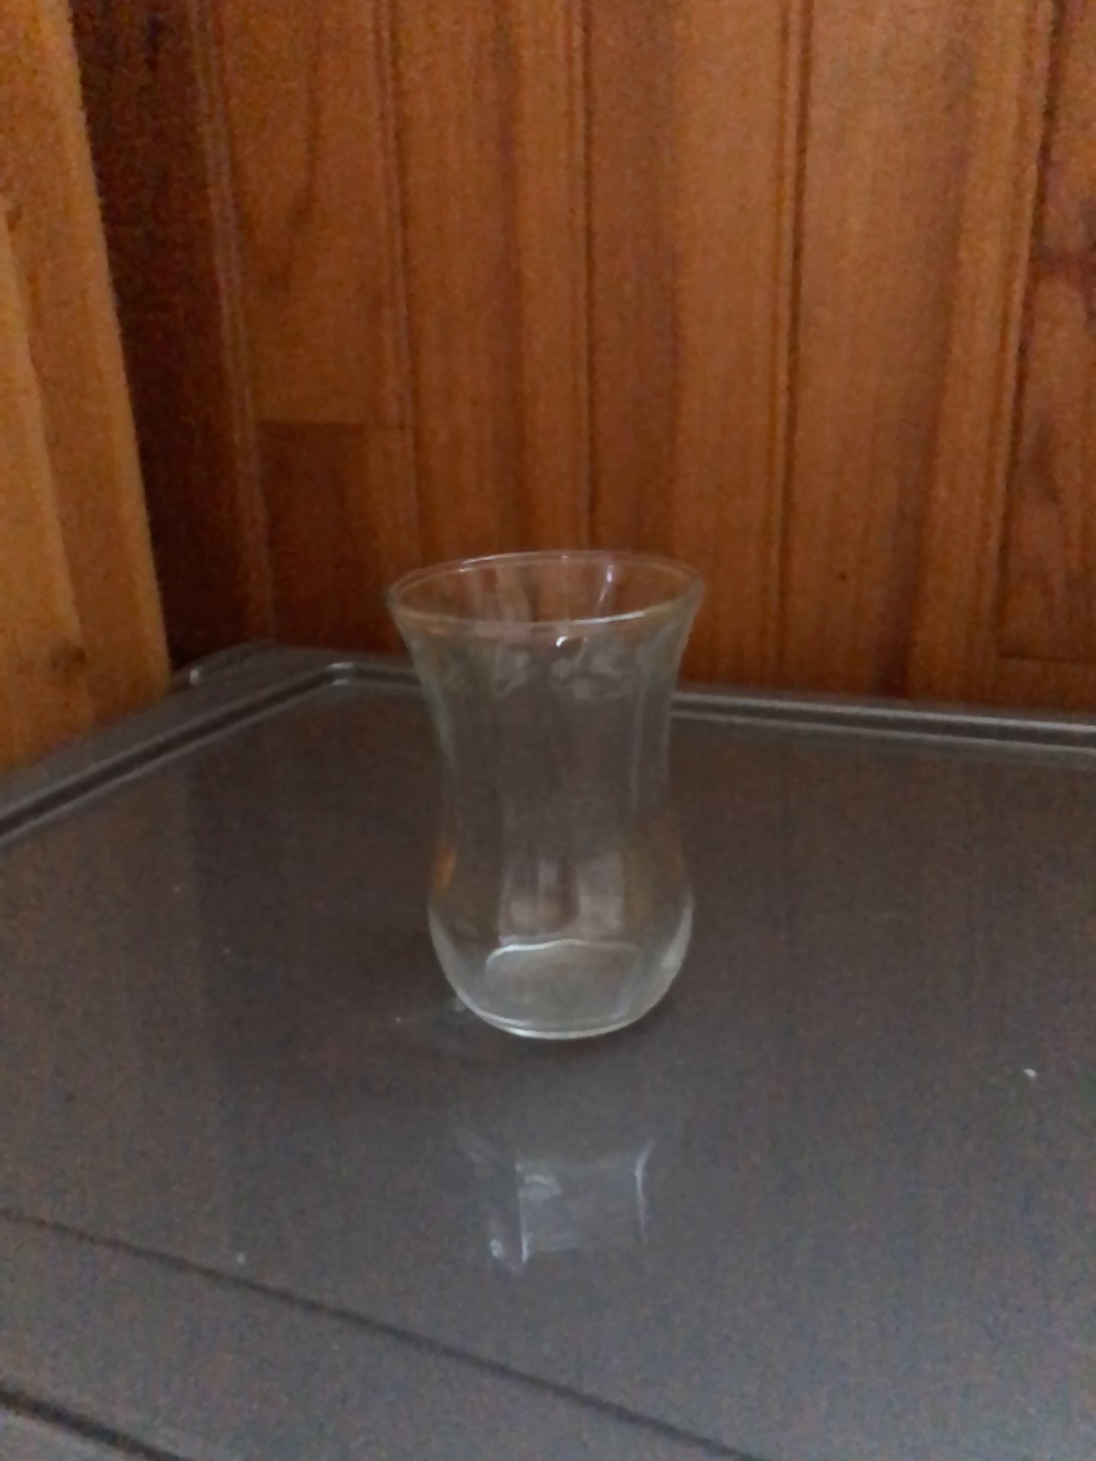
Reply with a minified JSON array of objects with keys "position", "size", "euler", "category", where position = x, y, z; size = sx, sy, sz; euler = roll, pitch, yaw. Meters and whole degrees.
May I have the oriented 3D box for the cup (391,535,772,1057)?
[{"position":[0.005,0.009,0.232],"size":[0.060,0.080,0.060],"euler":[-1,20,1],"category":"cup"}]
